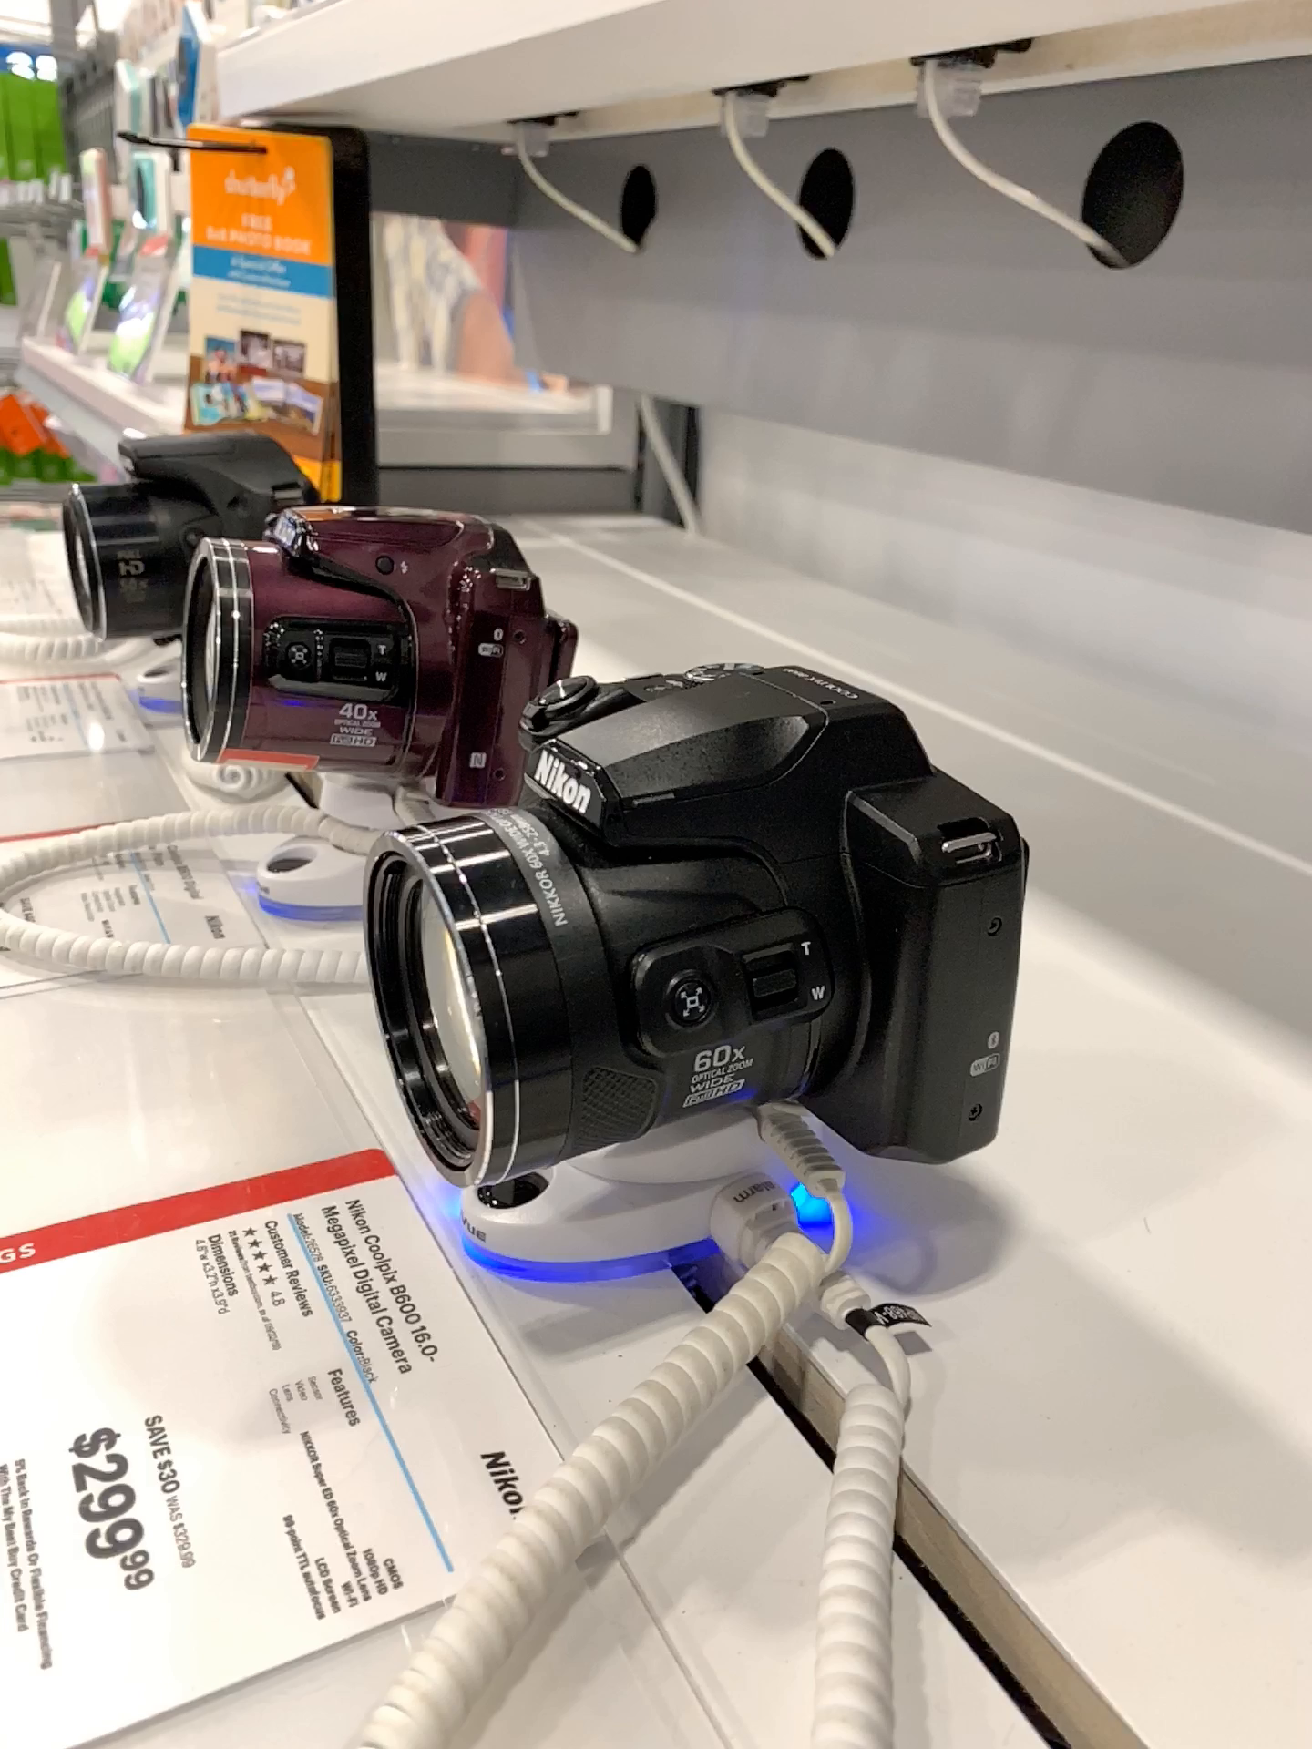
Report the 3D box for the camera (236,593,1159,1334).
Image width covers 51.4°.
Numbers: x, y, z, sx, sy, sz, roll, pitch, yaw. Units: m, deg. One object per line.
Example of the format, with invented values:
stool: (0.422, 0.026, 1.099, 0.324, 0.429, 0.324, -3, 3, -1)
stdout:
camera: (-0.002, -0.001, 0.254, 0.110, 0.070, 0.130, -11, 27, -30)
